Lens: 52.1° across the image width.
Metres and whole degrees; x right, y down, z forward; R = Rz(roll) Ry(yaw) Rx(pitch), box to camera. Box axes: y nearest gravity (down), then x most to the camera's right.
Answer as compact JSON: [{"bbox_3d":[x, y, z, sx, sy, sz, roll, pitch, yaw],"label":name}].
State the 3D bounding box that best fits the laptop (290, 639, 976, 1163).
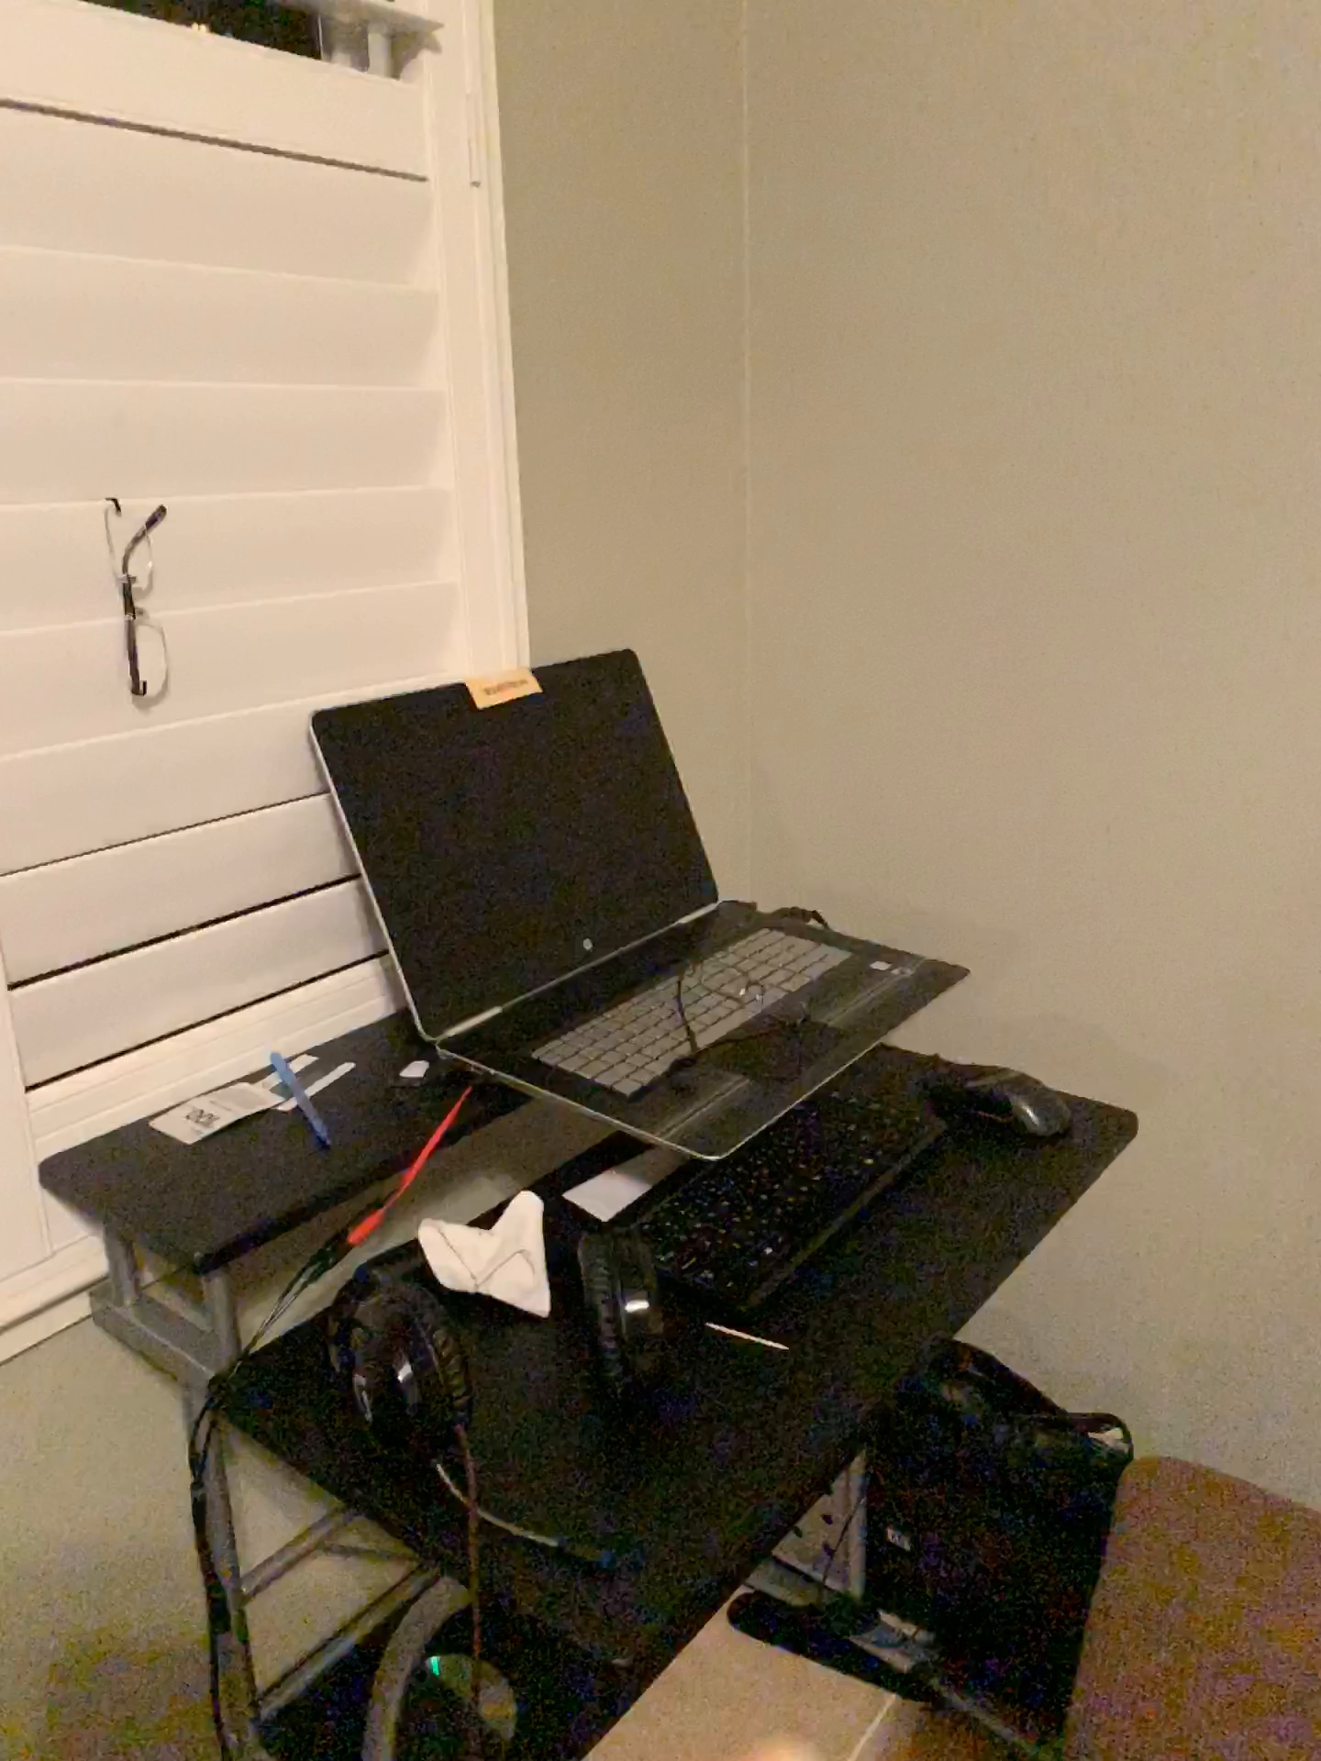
[{"bbox_3d":[-0.007,-0.030,1.207,0.419,0.263,0.434,14,23,34],"label":"laptop"}]
